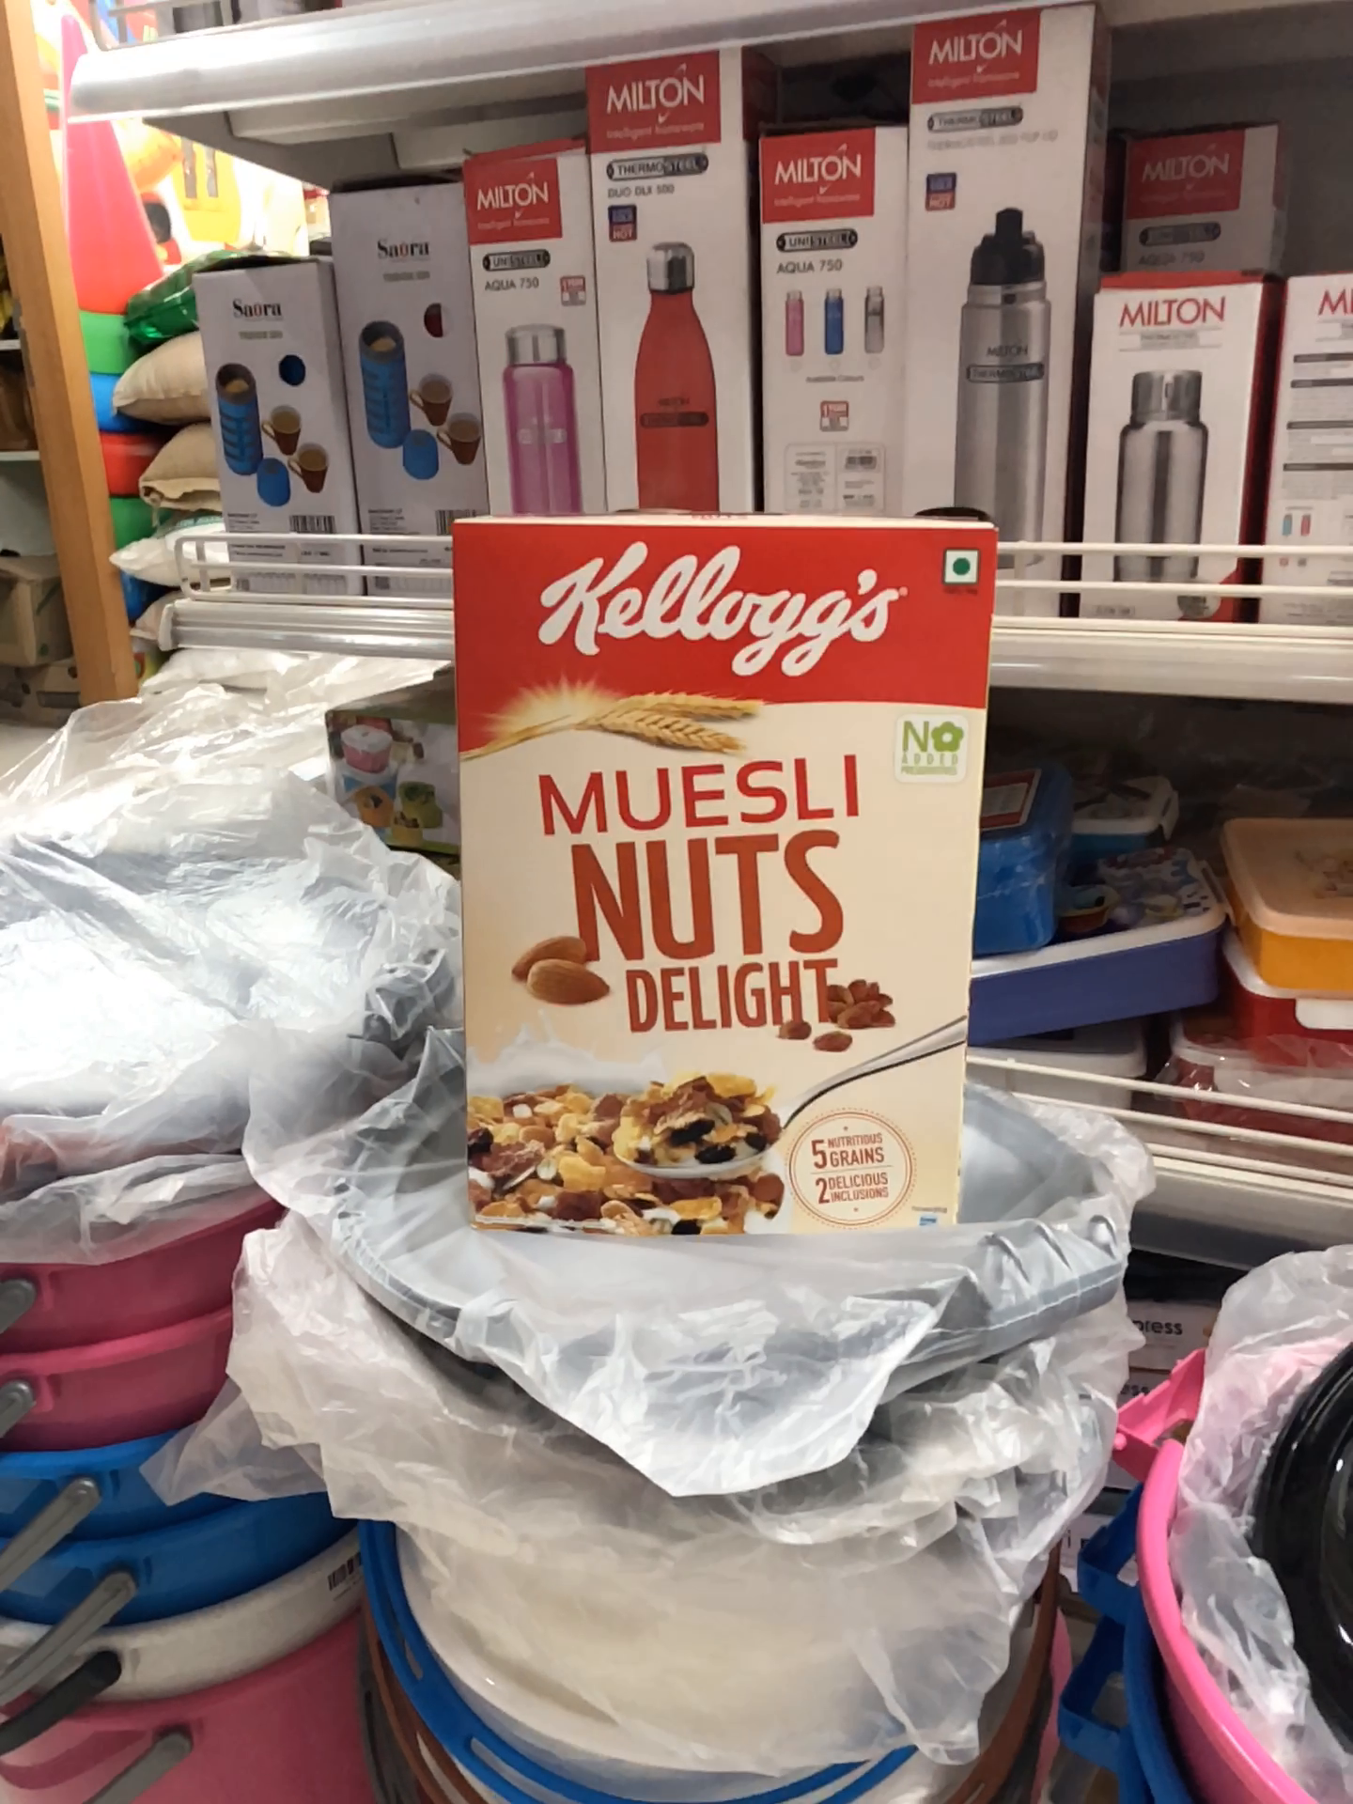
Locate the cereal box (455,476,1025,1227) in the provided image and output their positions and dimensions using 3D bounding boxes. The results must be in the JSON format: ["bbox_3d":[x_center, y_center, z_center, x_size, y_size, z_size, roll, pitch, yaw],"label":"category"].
[{"bbox_3d":[0.021,-0.021,0.558,0.190,0.259,0.070,3,12,7],"label":"cereal box"}]
